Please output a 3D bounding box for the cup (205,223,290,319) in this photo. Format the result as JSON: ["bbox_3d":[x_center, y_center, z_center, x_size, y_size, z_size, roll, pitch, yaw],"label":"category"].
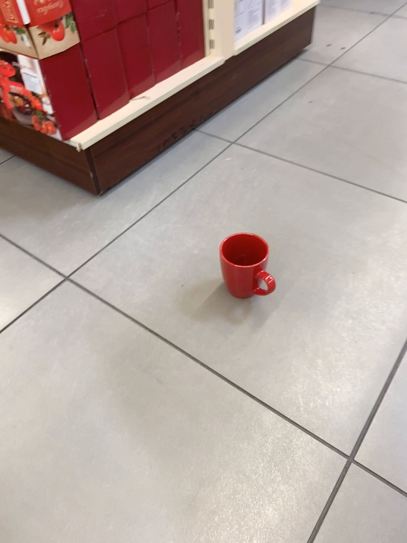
[{"bbox_3d":[0.074,-0.003,0.741,0.090,0.090,0.120,-27,51,-20],"label":"cup"}]
